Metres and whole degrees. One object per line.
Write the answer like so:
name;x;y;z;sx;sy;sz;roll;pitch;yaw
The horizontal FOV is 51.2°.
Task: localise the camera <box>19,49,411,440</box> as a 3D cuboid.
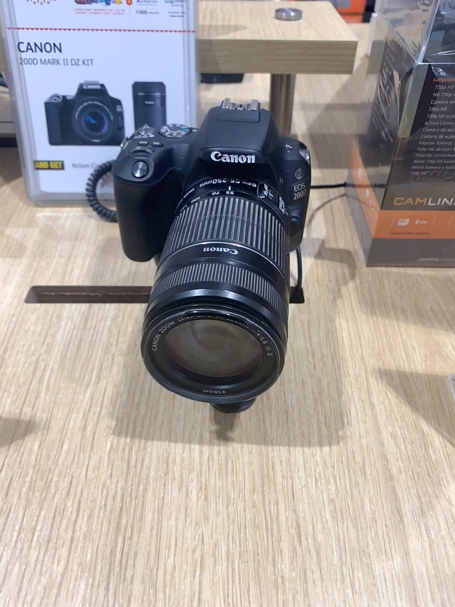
camera;0.001;-0.048;0.251;0.120;0.100;0.201;3;44;3
